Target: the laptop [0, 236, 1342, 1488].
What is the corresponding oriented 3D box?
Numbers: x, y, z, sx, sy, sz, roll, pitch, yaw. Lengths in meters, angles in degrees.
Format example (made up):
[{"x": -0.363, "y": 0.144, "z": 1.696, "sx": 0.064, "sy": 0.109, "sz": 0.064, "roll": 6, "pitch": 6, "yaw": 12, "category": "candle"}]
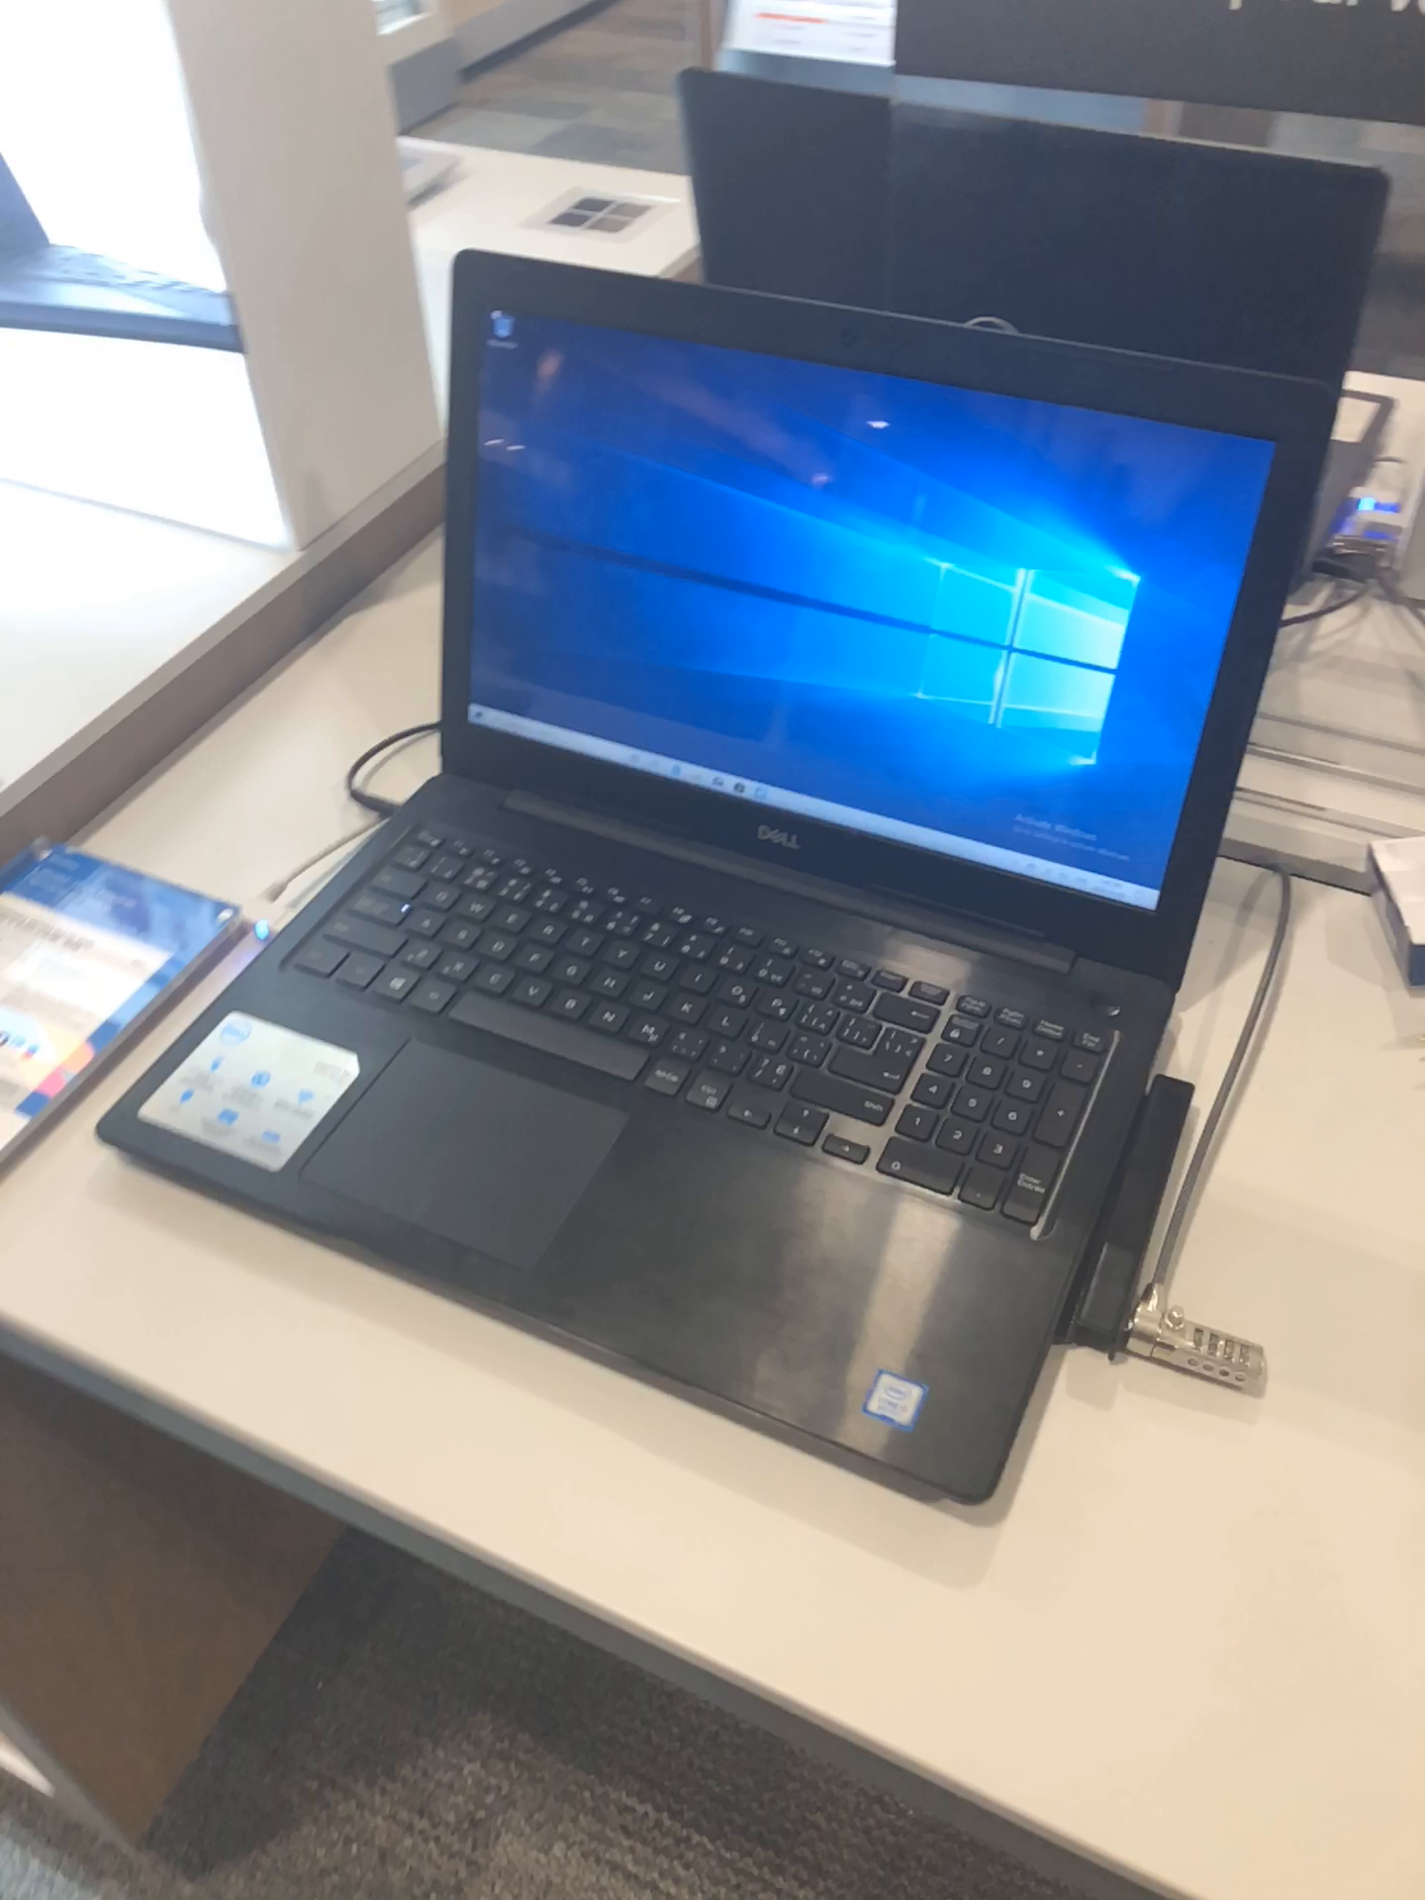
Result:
[{"x": -0.010, "y": -0.069, "z": 0.594, "sx": 0.364, "sy": 0.224, "sz": 0.337, "roll": 17, "pitch": 49, "yaw": 20, "category": "laptop"}]
